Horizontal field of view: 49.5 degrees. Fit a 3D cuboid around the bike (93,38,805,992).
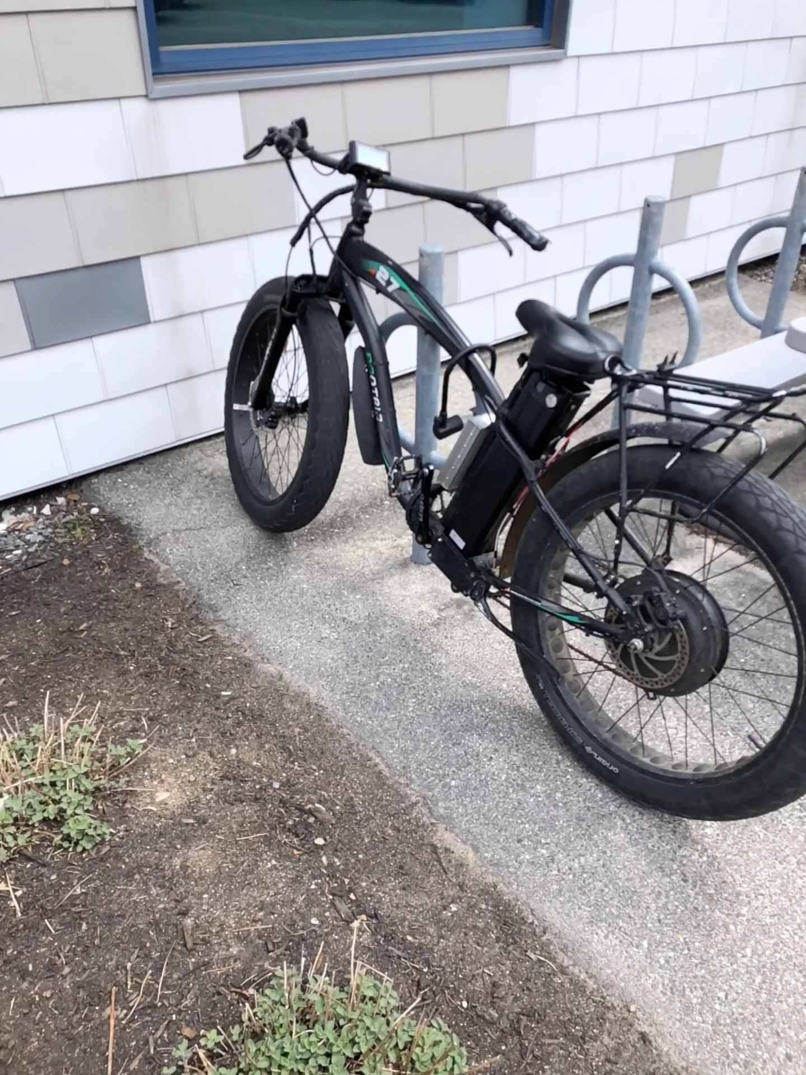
[{"bbox_3d":[0.230,-0.315,1.974,0.914,1.132,1.863,-24,44,-31],"label":"bike"}]
